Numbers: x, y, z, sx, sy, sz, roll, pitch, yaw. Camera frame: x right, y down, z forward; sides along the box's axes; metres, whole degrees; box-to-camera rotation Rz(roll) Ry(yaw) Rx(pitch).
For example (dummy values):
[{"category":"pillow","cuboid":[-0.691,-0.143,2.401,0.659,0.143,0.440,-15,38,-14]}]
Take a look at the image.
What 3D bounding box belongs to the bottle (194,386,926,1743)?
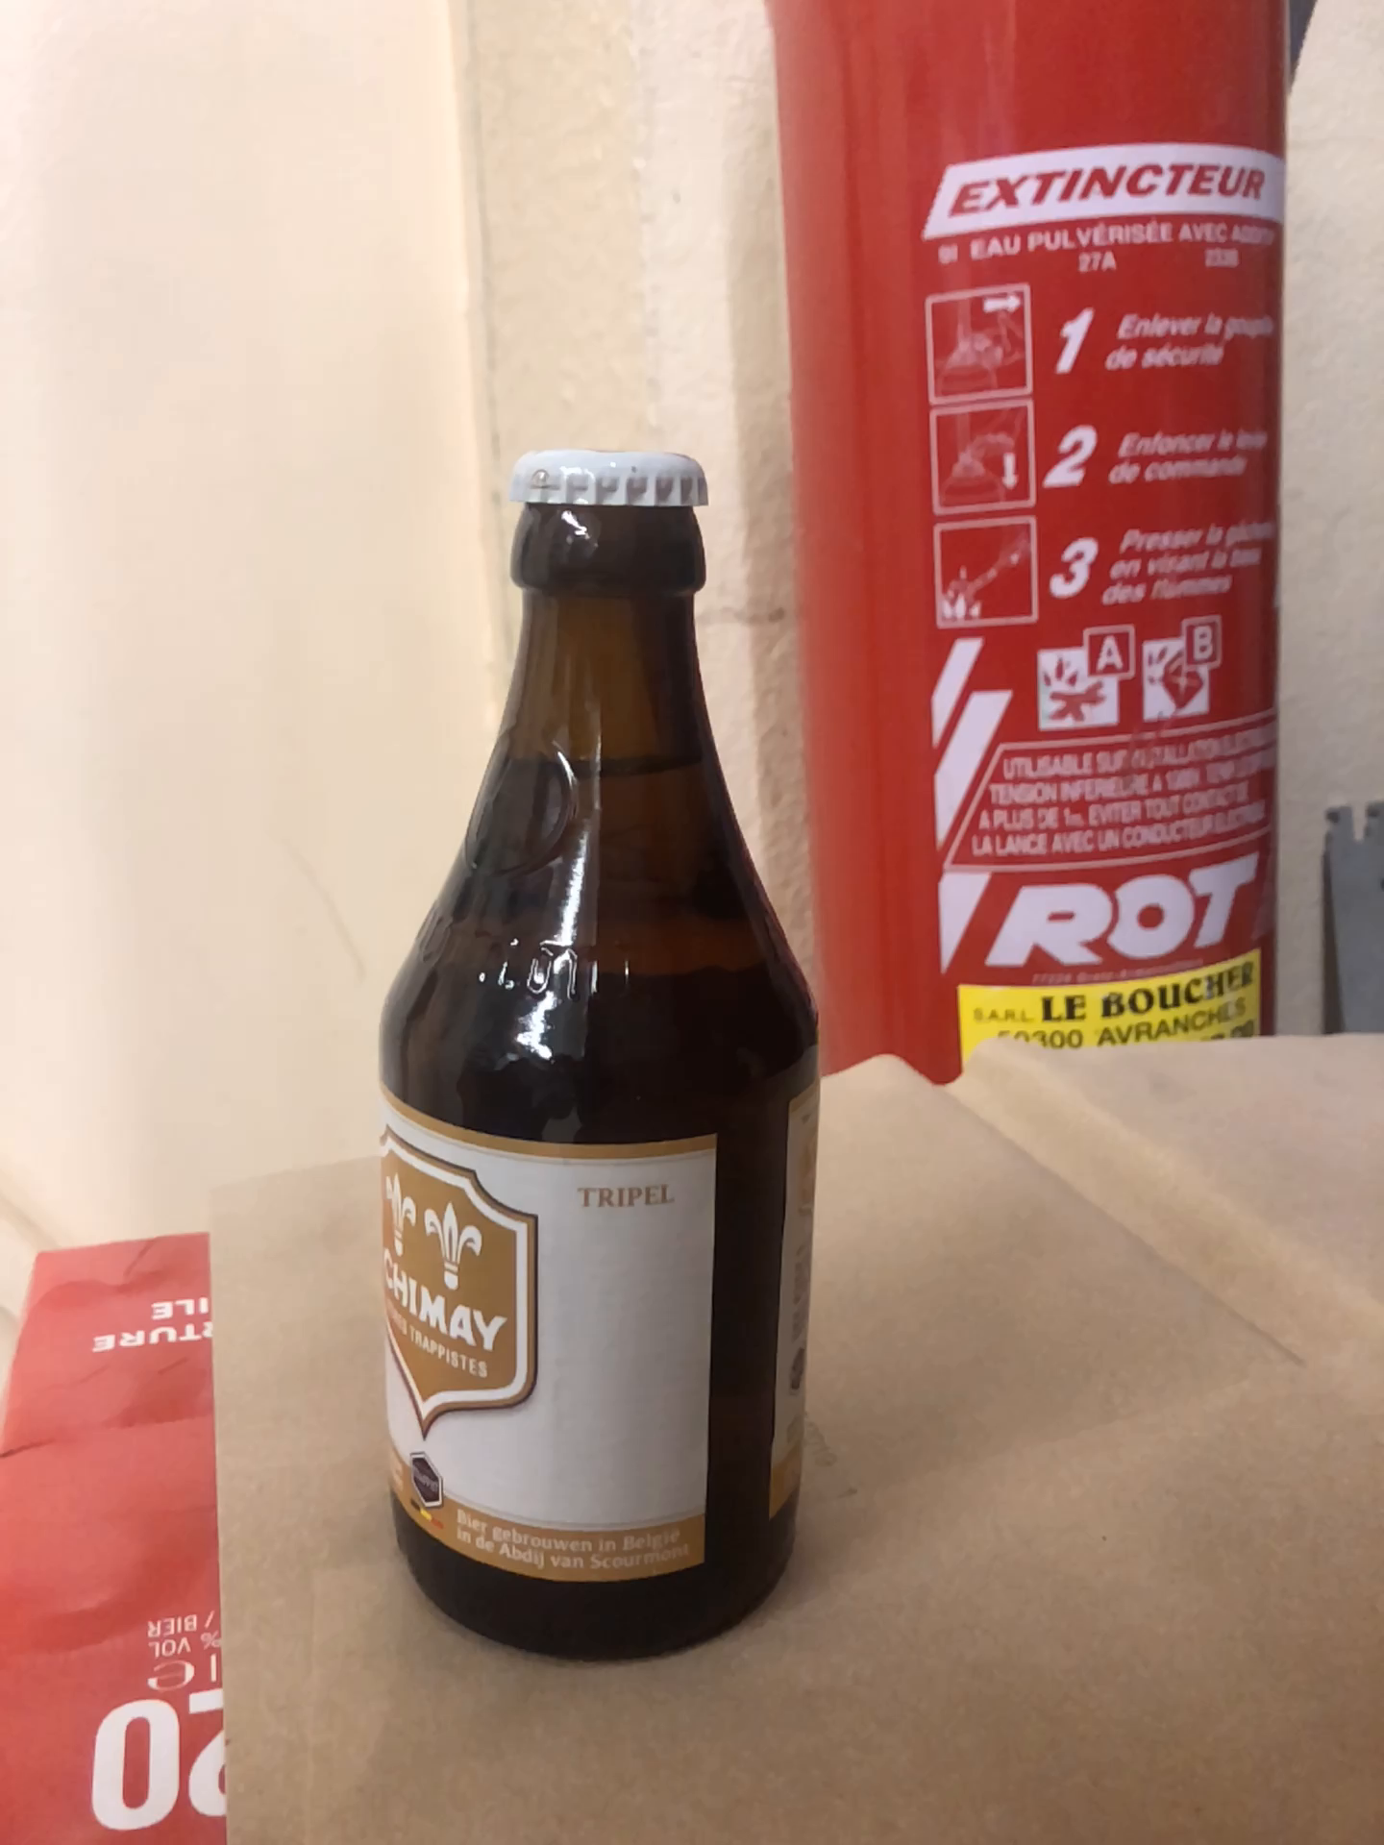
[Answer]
[{"category":"bottle","cuboid":[-0.020,0.012,0.233,0.070,0.169,0.080,-10,17,-34]}]
